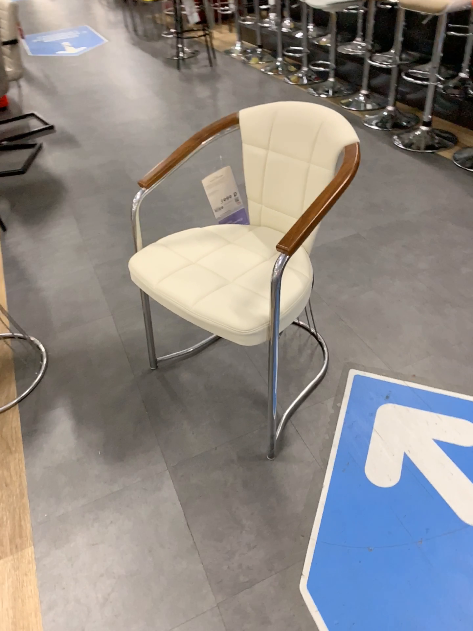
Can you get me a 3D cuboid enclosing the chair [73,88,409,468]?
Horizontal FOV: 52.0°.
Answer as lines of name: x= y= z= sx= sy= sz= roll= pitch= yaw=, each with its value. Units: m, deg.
chair: x=0.042 y=-0.140 z=1.480 sx=0.601 sy=0.815 sz=0.602 roll=29 pitch=51 yaw=35
